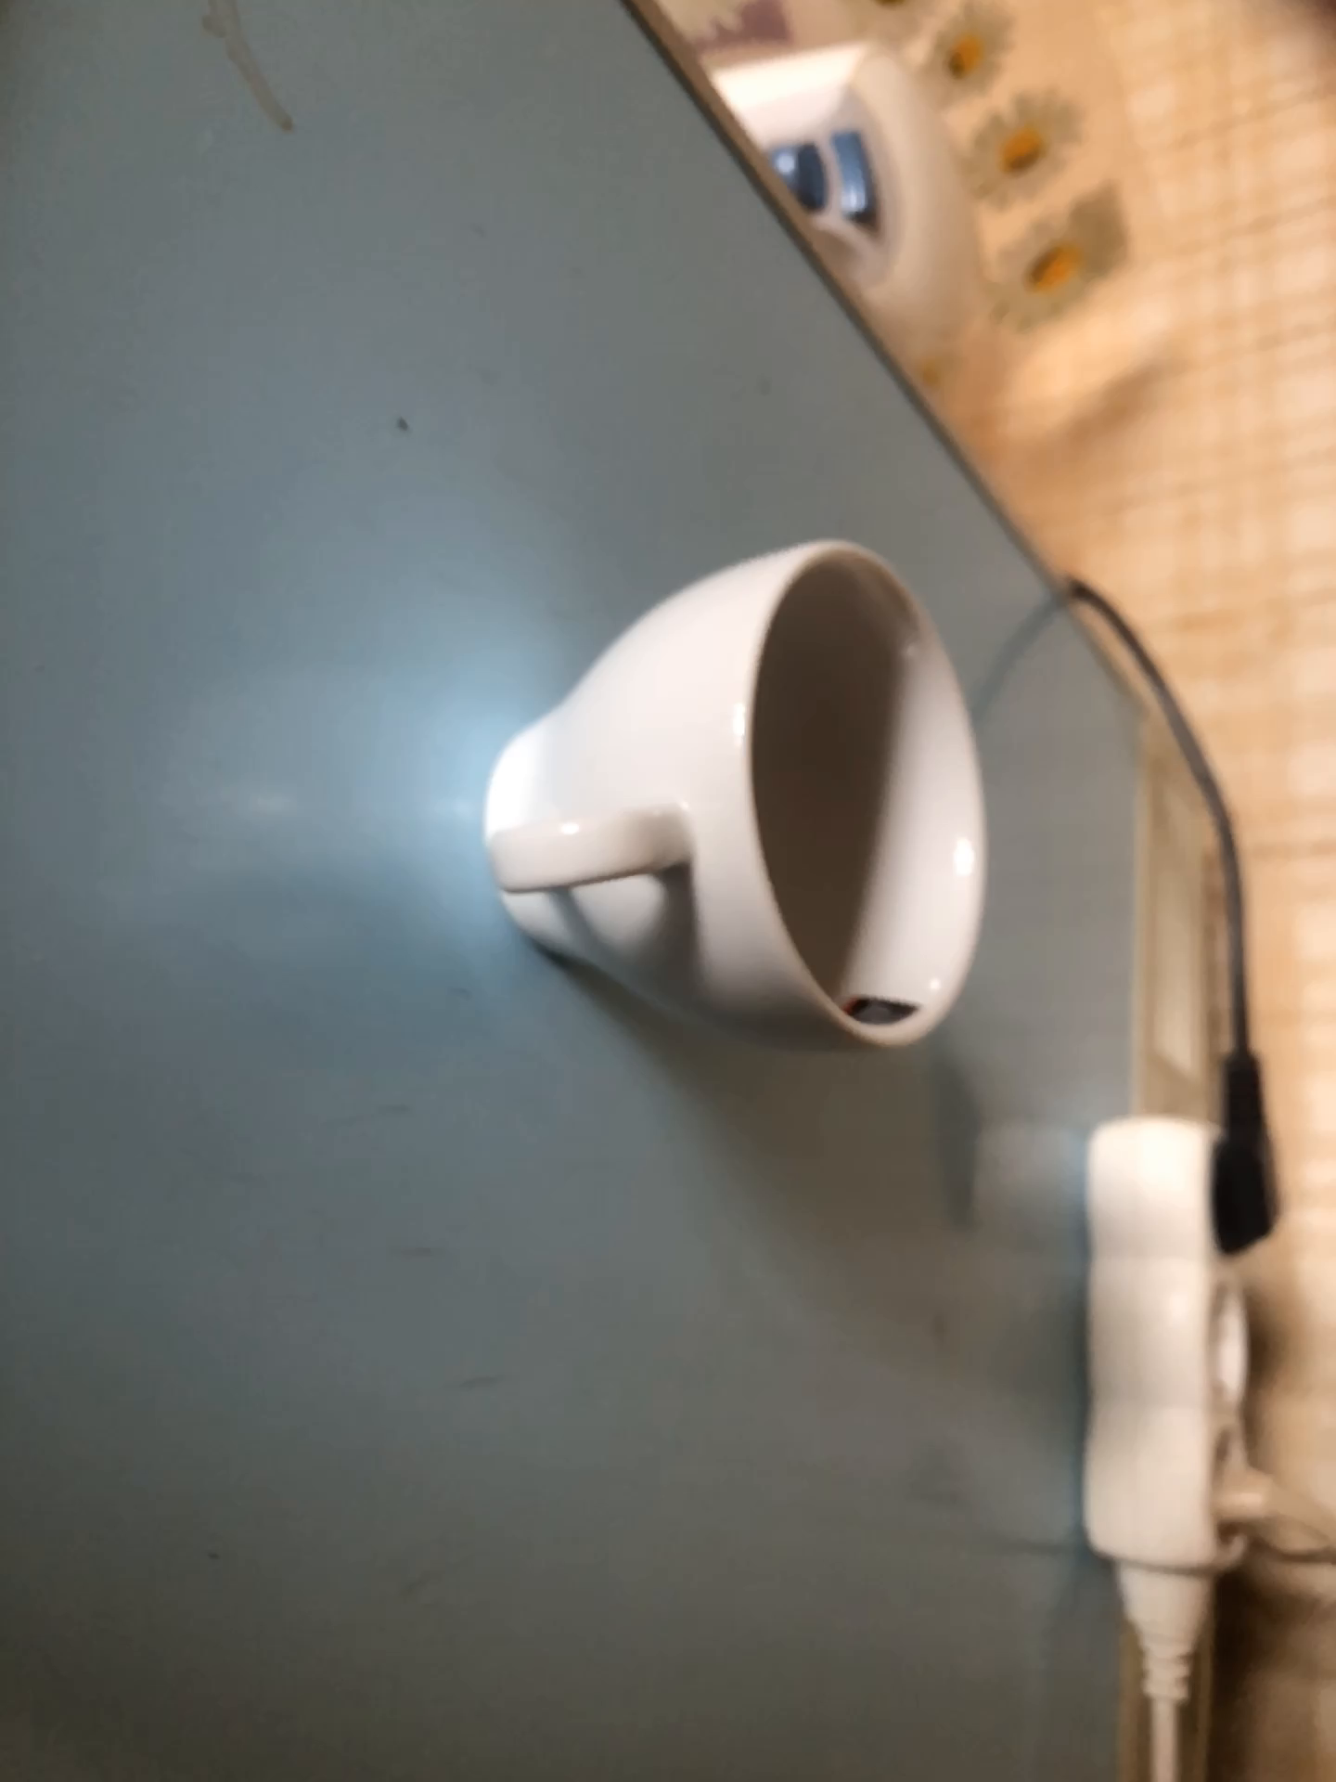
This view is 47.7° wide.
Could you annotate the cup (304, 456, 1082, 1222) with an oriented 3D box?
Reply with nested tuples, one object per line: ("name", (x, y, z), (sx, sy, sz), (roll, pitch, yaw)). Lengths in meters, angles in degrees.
("cup", (0.014, -0.013, 0.256), (0.111, 0.065, 0.088), (-37, 115, -52))
